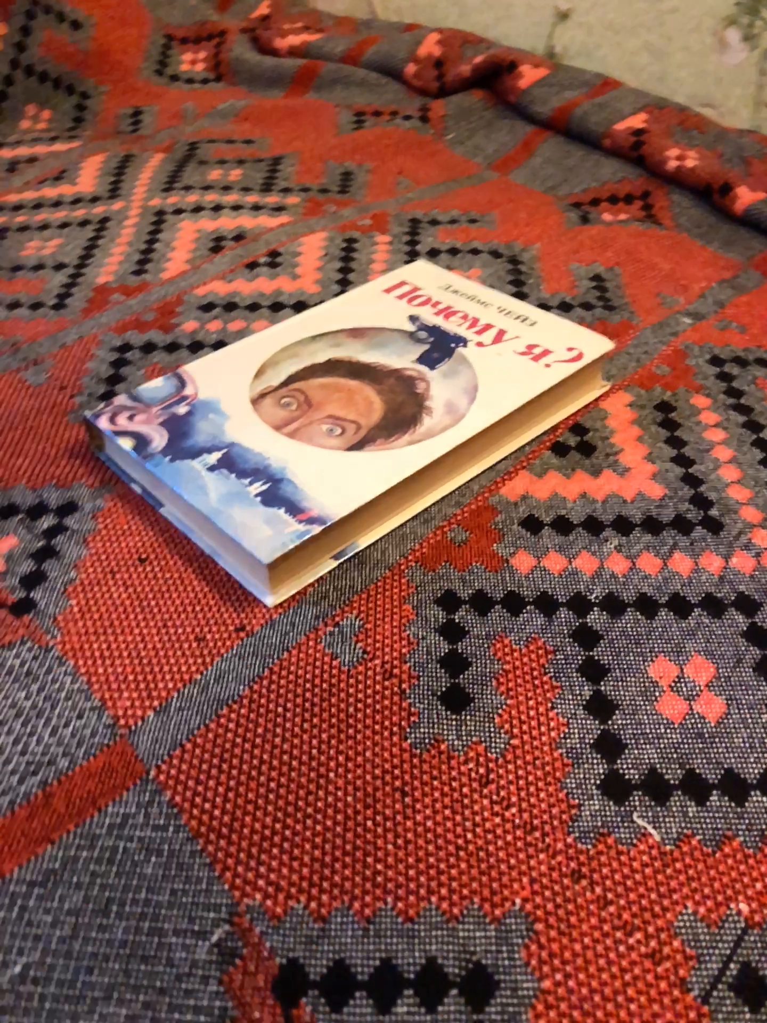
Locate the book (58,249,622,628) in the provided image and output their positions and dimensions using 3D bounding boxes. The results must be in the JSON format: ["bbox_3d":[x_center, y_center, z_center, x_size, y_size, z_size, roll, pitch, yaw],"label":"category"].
[{"bbox_3d":[-0.014,-0.050,0.374,0.204,0.029,0.134,-33,50,-30],"label":"book"}]
